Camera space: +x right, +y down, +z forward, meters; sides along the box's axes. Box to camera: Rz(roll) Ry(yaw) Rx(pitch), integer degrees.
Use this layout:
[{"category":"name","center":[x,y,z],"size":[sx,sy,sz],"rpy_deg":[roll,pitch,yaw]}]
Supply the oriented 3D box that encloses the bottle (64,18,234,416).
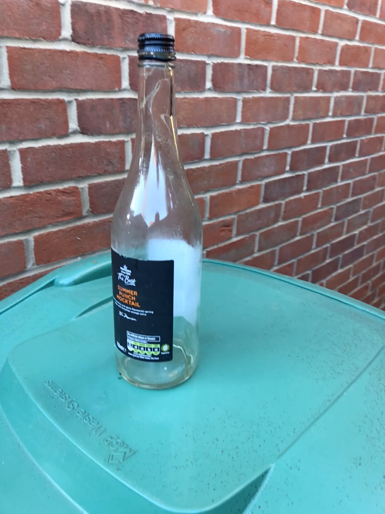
[{"category":"bottle","center":[-0.033,-0.026,0.353],"size":[0.090,0.288,0.080],"rpy_deg":[16,26,35]}]
